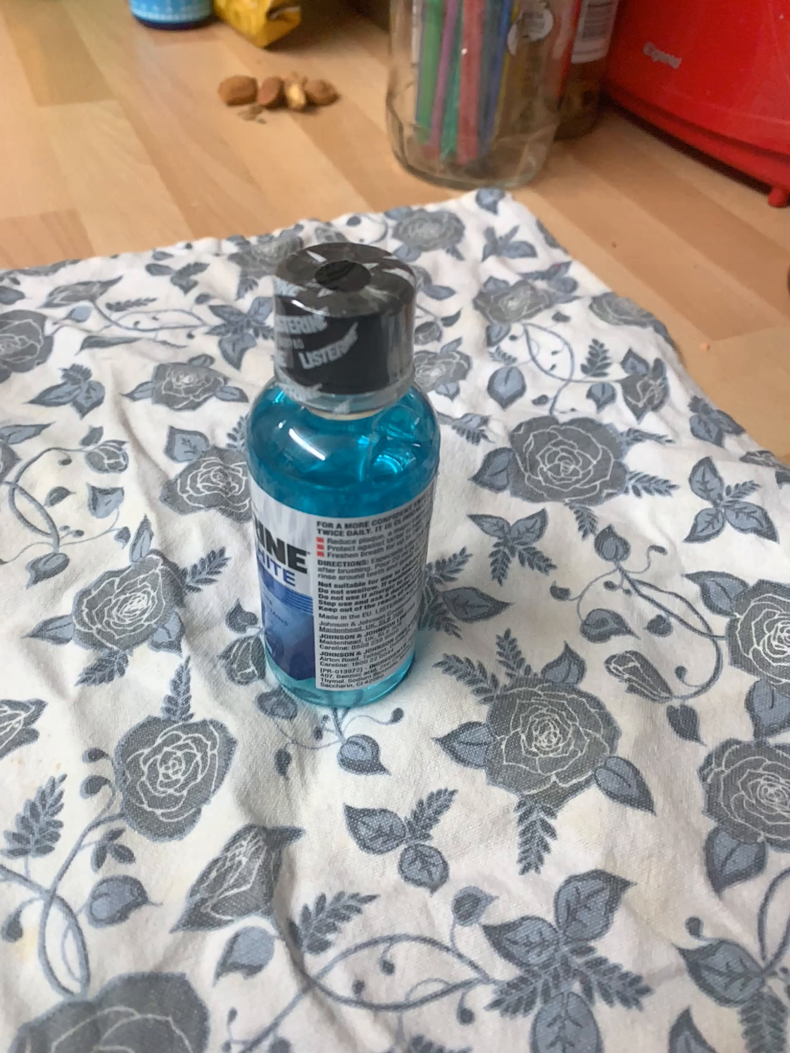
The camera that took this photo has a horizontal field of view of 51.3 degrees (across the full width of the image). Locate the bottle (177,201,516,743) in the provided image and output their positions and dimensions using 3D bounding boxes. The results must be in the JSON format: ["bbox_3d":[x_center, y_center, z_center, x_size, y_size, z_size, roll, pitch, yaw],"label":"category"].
[{"bbox_3d":[-0.009,-0.004,0.178,0.050,0.109,0.050,2,47,-2],"label":"bottle"}]
